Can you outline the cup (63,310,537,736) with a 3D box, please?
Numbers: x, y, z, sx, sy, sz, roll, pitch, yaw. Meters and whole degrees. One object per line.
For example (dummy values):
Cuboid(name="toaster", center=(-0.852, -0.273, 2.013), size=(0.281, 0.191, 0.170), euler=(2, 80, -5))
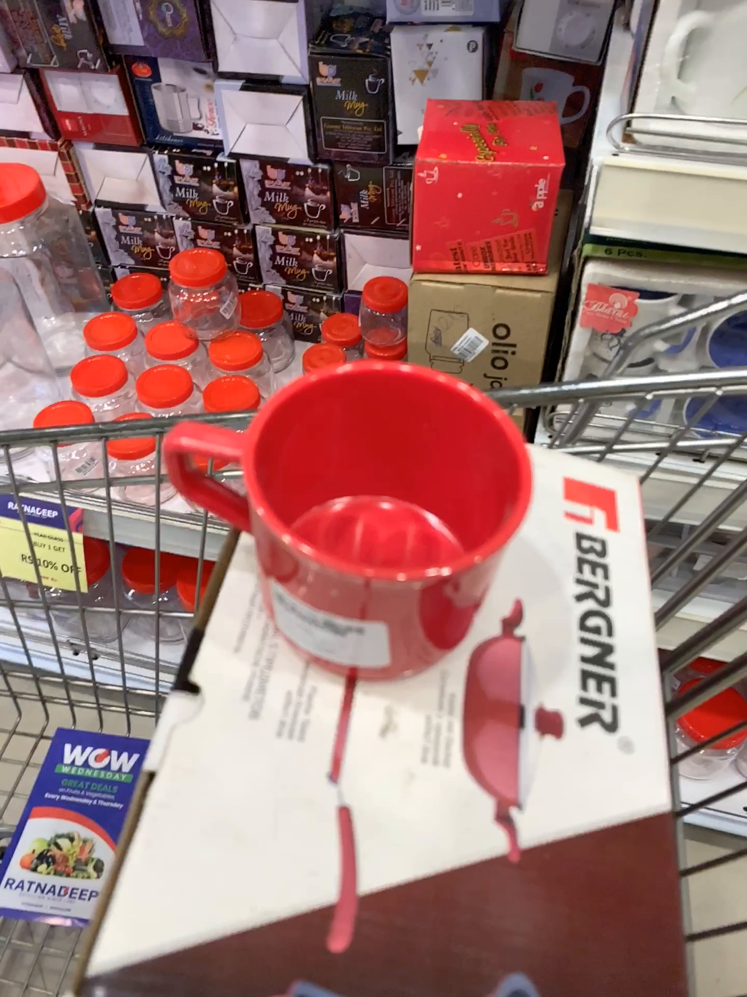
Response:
Cuboid(name="cup", center=(-0.013, 0.005, 0.196), size=(0.090, 0.060, 0.070), euler=(13, 50, 8))
